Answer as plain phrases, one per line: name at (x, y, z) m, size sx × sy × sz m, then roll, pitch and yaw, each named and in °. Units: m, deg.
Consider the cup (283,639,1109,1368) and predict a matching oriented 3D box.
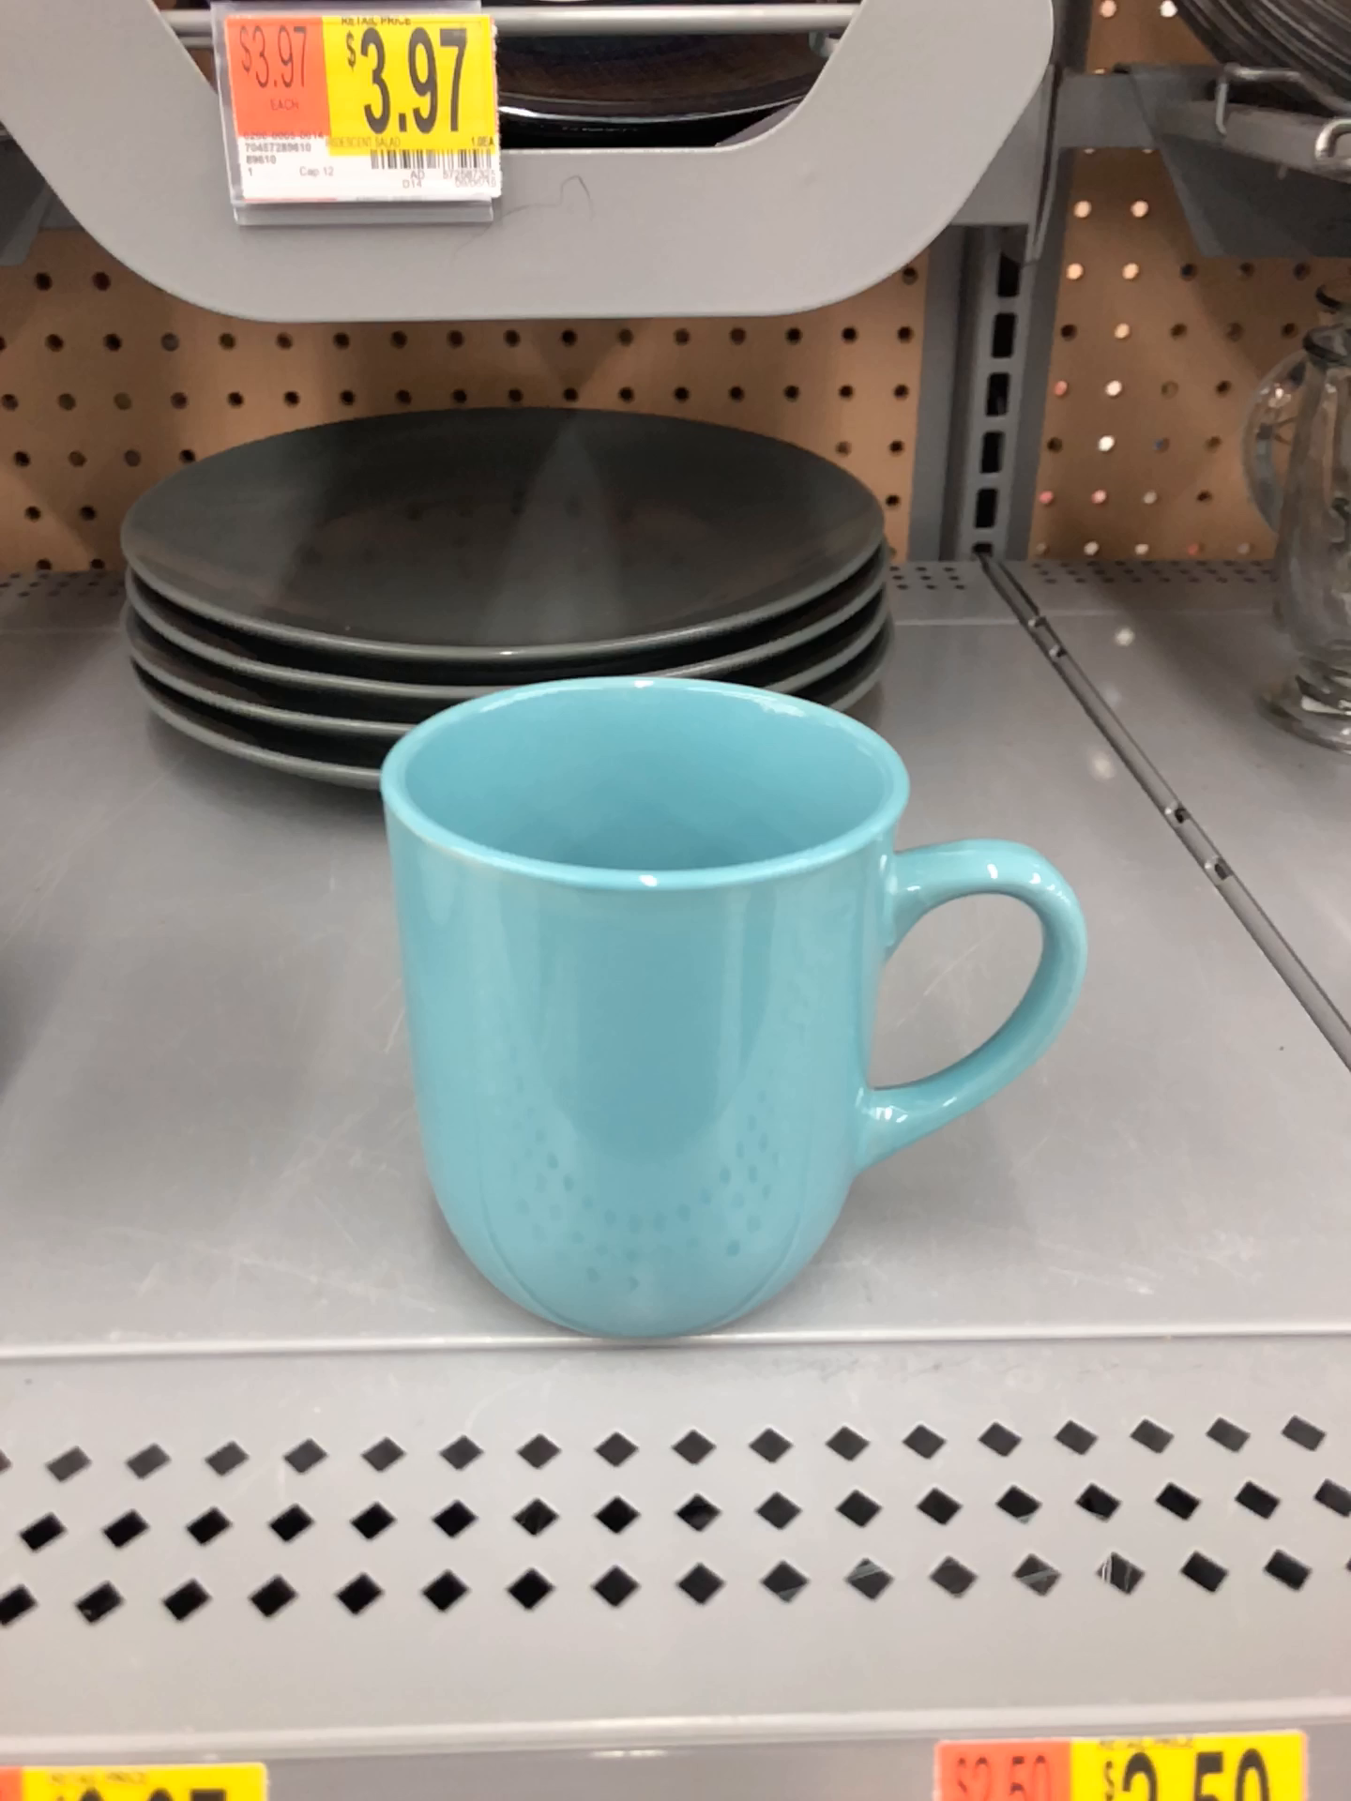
cup at (0.000, 0.013, 0.268) m, size 0.114 × 0.091 × 0.091 m, roll -2°, pitch 29°, yaw -3°
